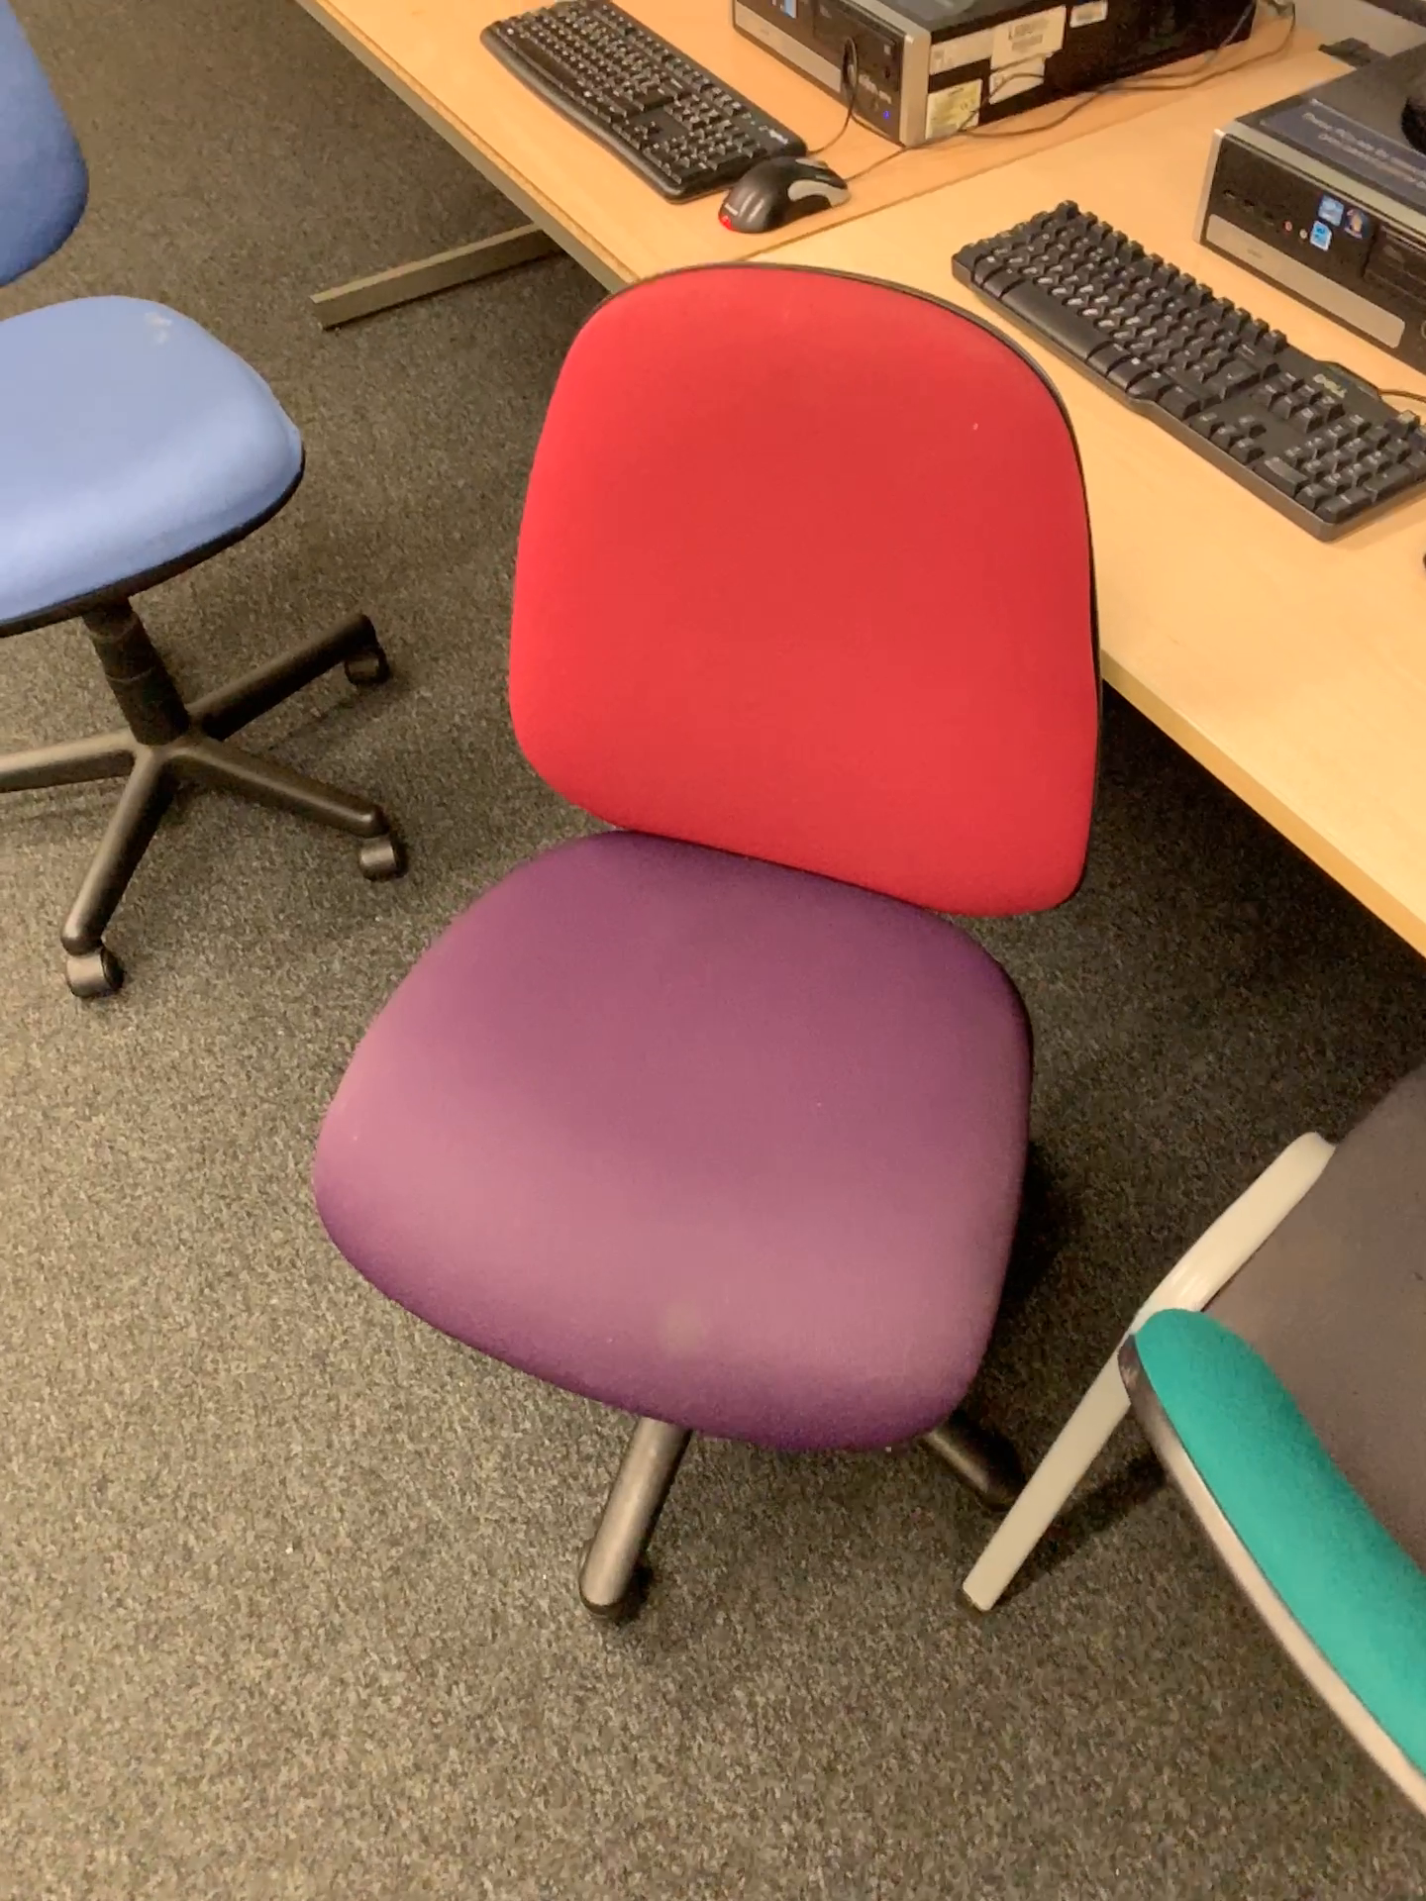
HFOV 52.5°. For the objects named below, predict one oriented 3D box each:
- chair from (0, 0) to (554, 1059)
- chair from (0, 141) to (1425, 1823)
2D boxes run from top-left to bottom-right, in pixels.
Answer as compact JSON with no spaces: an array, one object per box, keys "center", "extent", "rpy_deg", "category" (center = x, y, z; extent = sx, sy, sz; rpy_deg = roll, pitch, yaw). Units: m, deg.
[{"center":[-0.626,-0.474,1.443],"extent":[0.604,0.830,0.602],"rpy_deg":[-30,56,-19],"category":"chair"},{"center":[0.001,0.070,1.007],"extent":[0.654,0.870,0.602],"rpy_deg":[19,55,17],"category":"chair"}]
